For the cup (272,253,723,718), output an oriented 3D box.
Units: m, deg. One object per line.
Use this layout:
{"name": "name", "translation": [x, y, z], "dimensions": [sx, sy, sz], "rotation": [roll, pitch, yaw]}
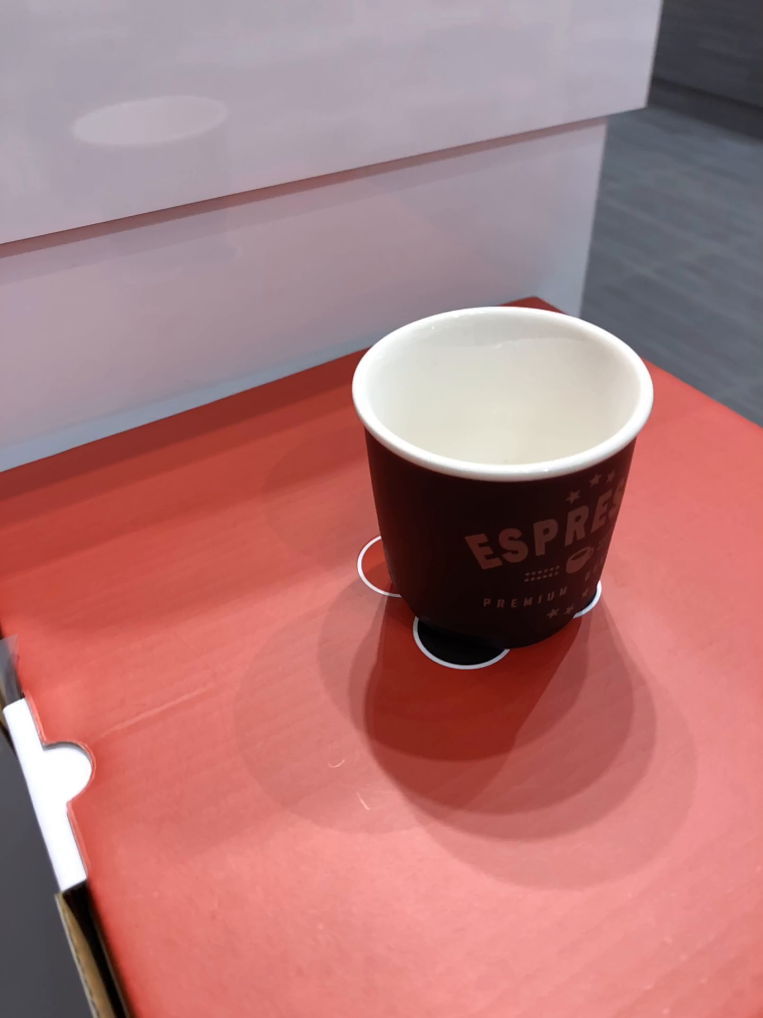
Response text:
{"name": "cup", "translation": [0.025, -0.010, 0.193], "dimensions": [0.060, 0.060, 0.070], "rotation": [31, 49, 34]}
